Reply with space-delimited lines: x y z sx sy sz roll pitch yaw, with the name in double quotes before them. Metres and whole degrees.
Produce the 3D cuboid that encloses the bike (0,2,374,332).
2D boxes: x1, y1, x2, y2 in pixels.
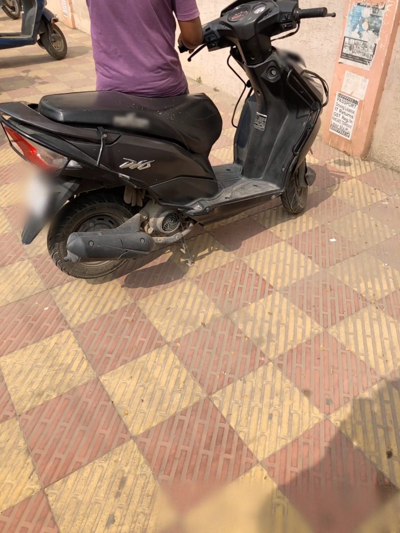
"bike" 0.006 -0.557 1.985 1.512 0.987 0.575 -26 44 -31
